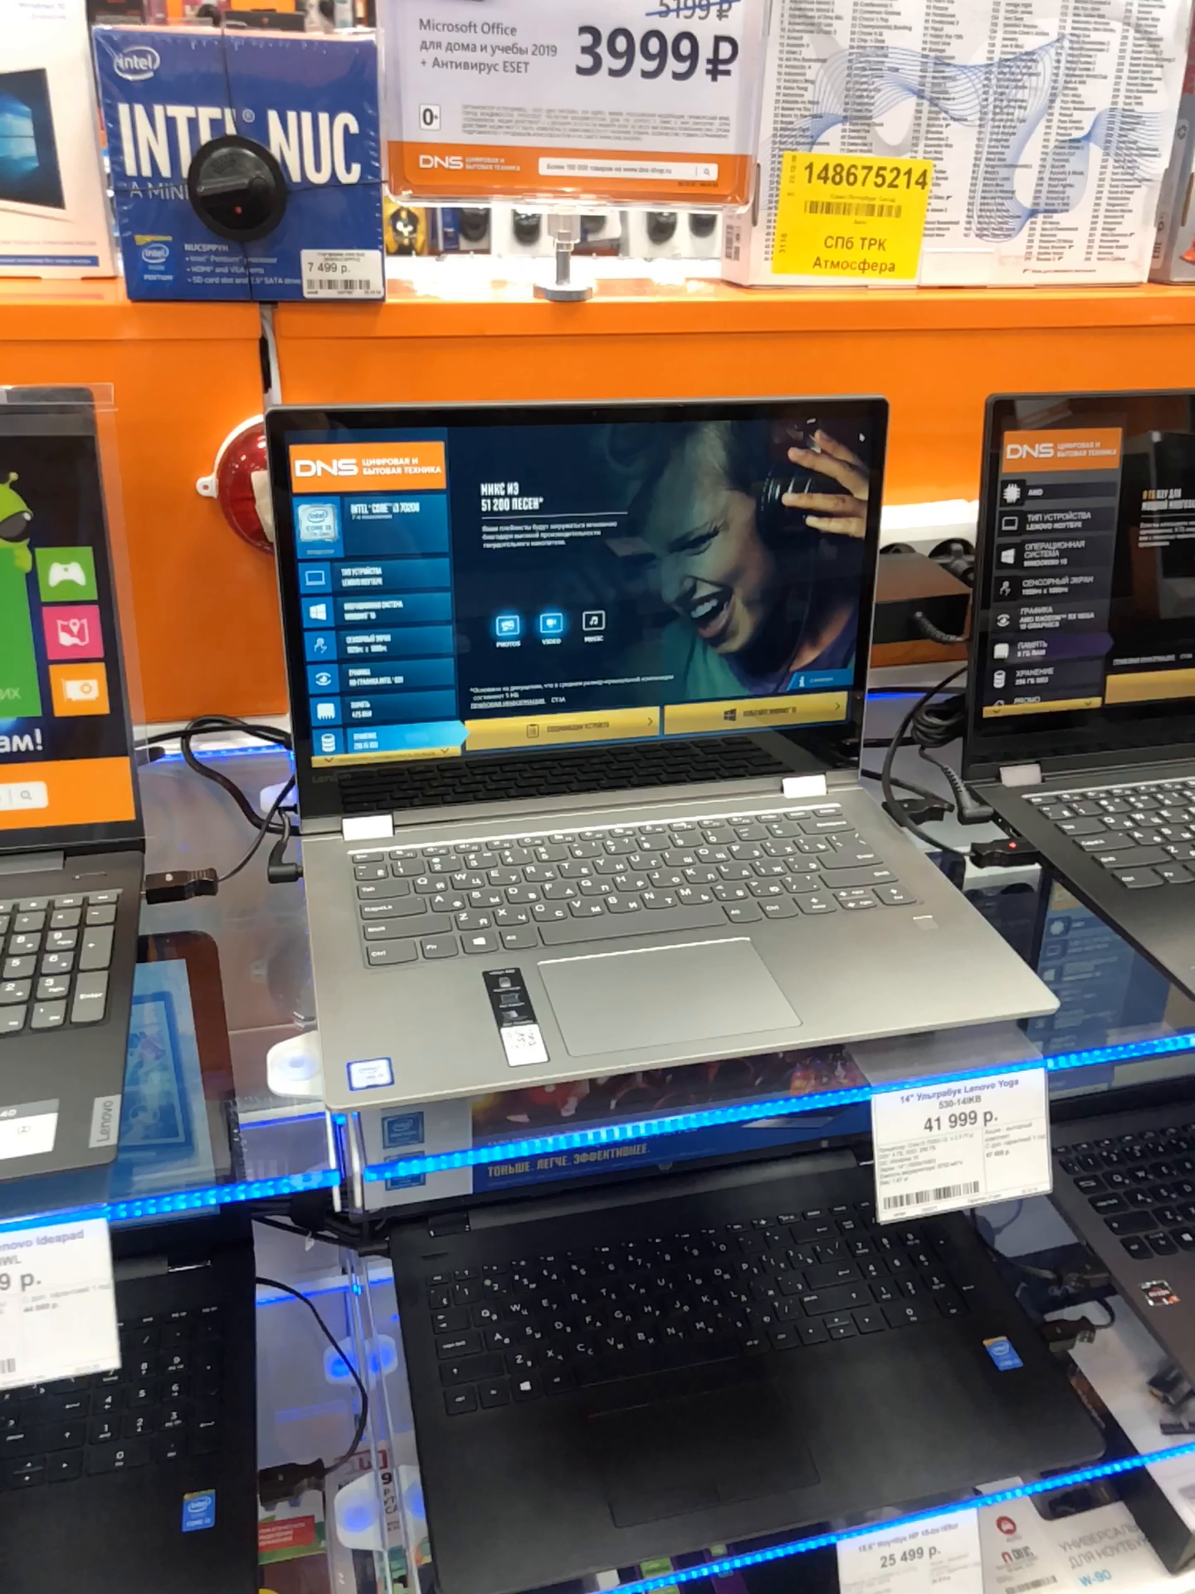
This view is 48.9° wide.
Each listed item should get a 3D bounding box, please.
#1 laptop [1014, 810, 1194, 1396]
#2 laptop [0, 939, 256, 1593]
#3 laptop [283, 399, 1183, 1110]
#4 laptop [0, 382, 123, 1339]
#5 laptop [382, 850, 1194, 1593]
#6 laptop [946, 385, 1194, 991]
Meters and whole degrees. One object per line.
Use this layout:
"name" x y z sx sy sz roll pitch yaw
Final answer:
"laptop" 0.480 0.174 0.826 0.308 0.213 0.238 -6 28 -11
"laptop" -0.371 0.257 0.636 0.378 0.235 0.240 -6 29 -12
"laptop" 0.030 -0.043 0.595 0.315 0.212 0.239 -5 29 -13
"laptop" -0.358 -0.016 0.495 0.305 0.212 0.279 -5 29 -18
"laptop" 0.080 0.212 0.736 0.368 0.207 0.264 -7 30 -14
"laptop" 0.391 -0.075 0.675 0.290 0.209 0.248 -6 29 -12
